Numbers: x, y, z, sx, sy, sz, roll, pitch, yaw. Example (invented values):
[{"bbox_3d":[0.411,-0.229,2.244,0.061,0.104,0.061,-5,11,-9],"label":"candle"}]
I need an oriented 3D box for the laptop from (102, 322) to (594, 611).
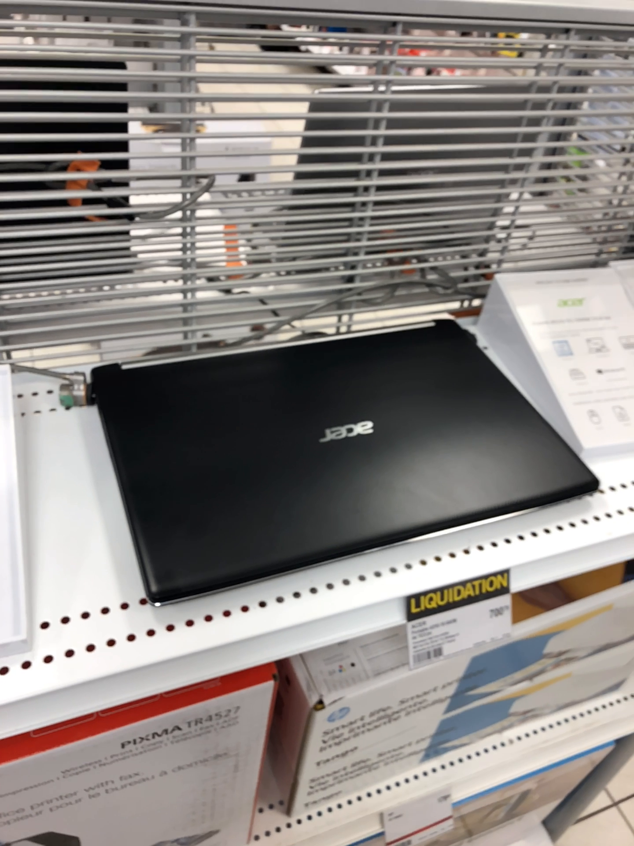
[{"bbox_3d":[0.023,0.009,0.594,0.362,0.012,0.227,-10,47,-21],"label":"laptop"}]
